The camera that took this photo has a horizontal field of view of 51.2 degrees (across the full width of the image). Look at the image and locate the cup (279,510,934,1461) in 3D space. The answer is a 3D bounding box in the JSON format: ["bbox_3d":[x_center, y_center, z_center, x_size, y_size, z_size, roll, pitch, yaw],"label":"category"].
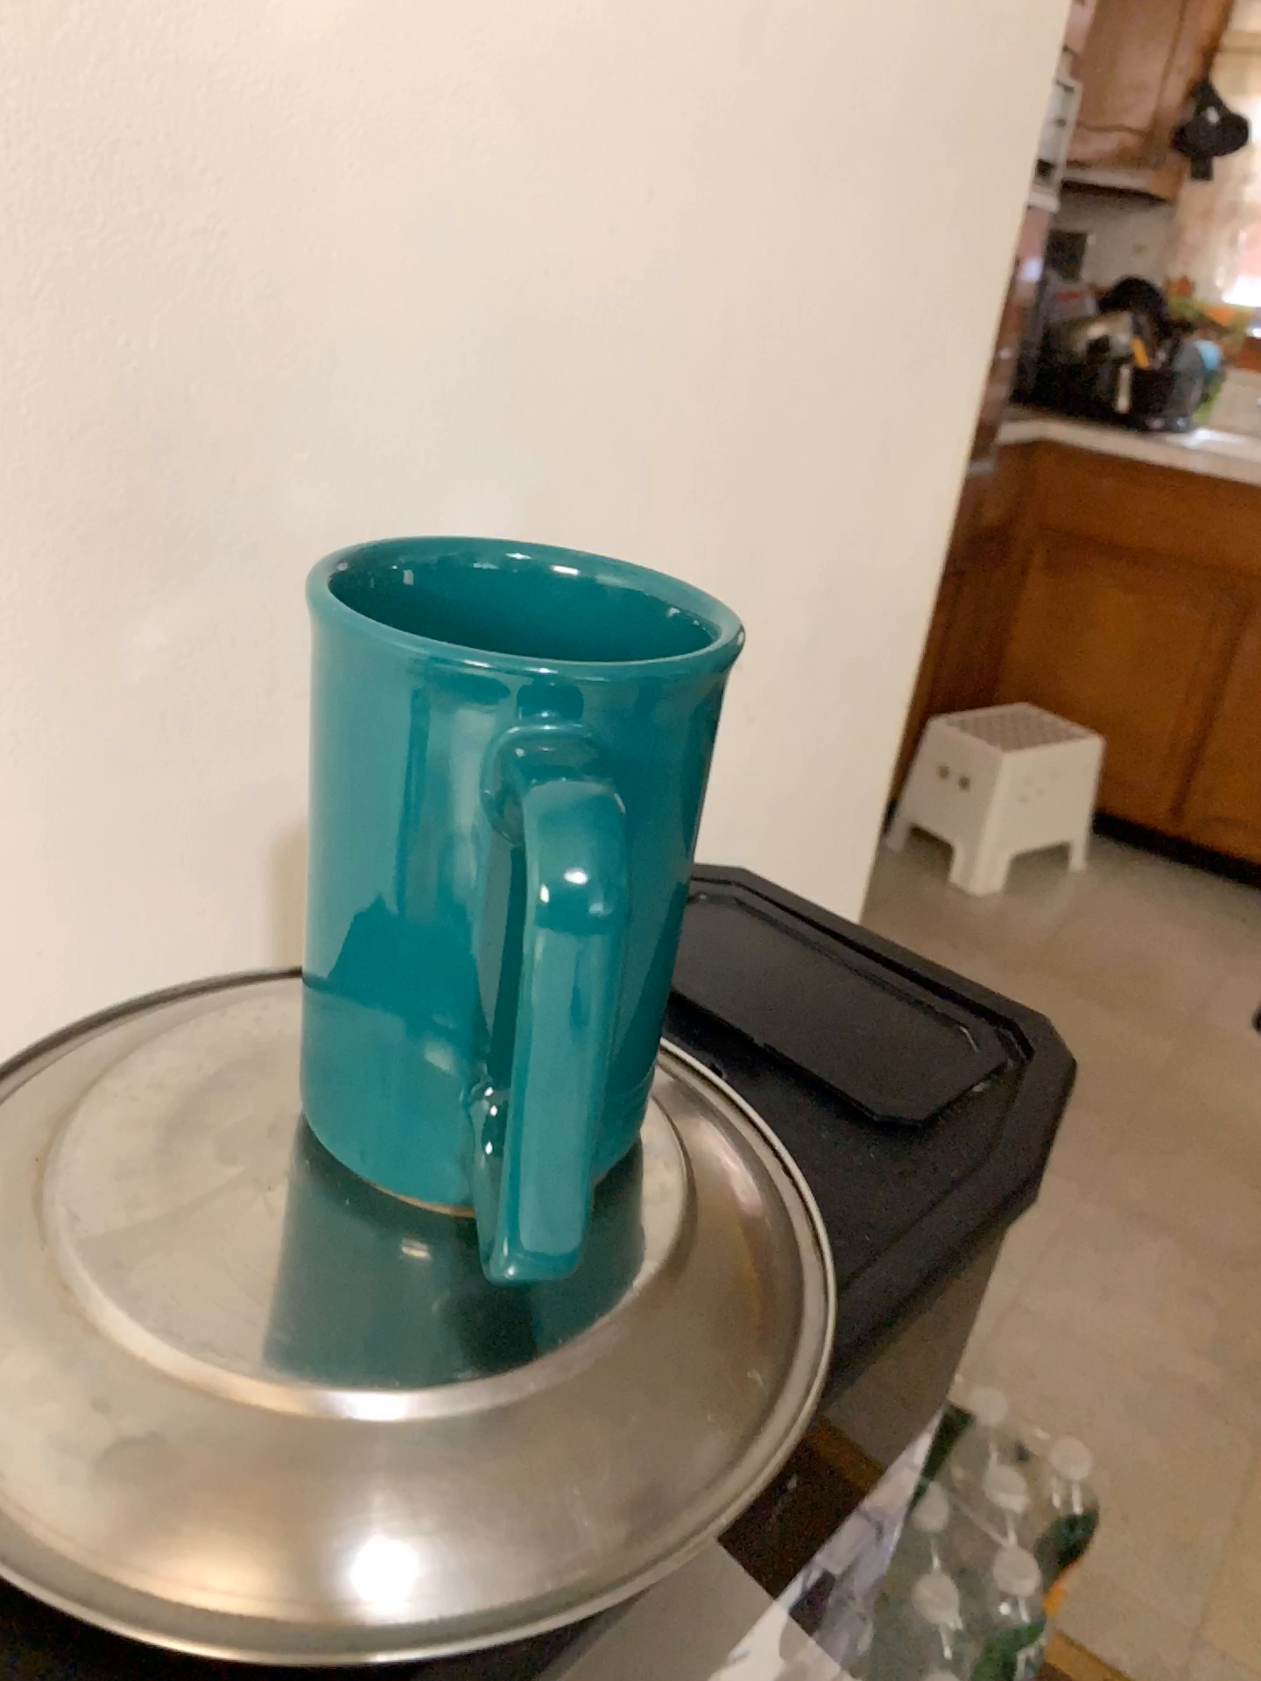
[{"bbox_3d":[-0.021,0.016,0.242,0.080,0.119,0.121,1,25,-17],"label":"cup"}]
